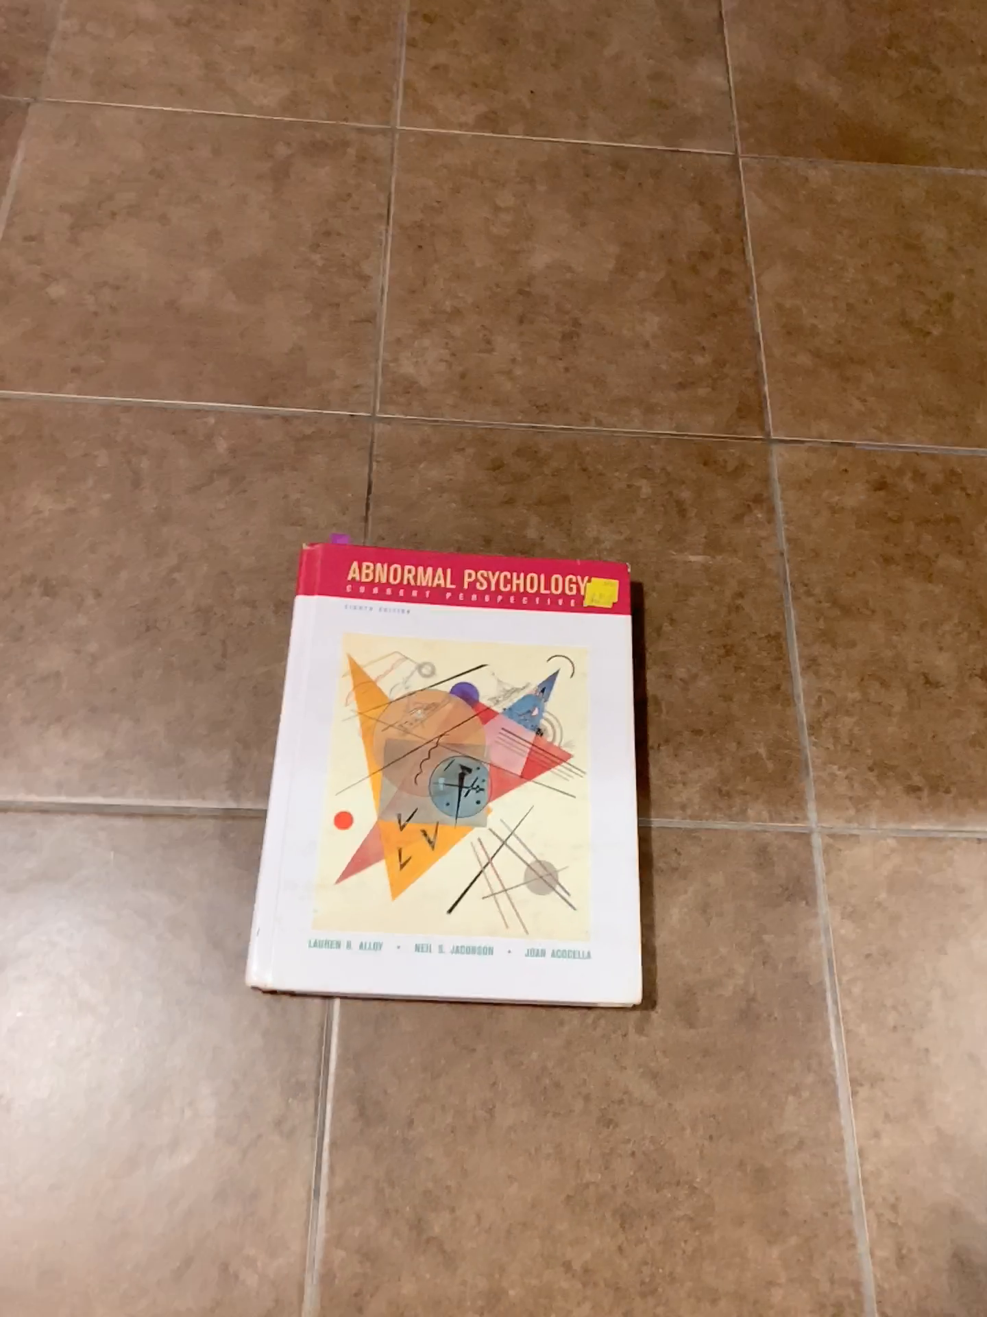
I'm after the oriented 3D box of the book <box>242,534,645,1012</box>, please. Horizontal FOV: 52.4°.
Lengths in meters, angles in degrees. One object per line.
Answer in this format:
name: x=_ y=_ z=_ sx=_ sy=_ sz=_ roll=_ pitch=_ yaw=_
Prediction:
book: x=-0.023 y=0.063 z=0.626 sx=0.222 sy=0.032 sz=0.288 roll=3 pitch=66 yaw=-3
